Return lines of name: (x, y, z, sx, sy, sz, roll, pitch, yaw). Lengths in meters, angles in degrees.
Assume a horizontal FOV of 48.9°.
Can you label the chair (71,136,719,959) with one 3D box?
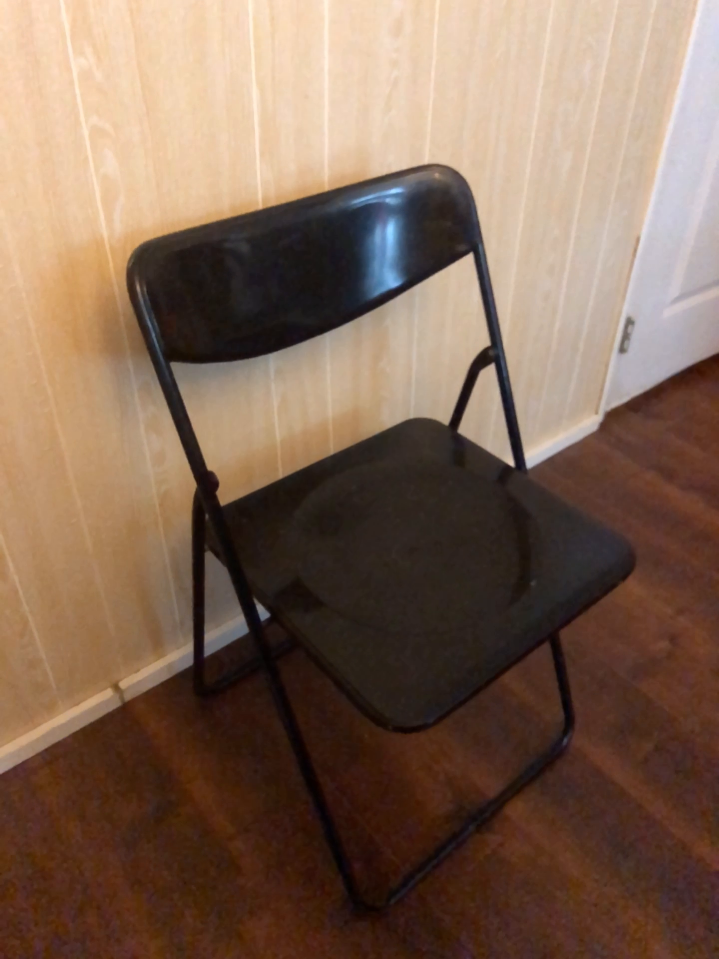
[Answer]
chair: (0.070, 0.058, 0.904, 0.491, 0.665, 0.472, -27, 48, -31)
